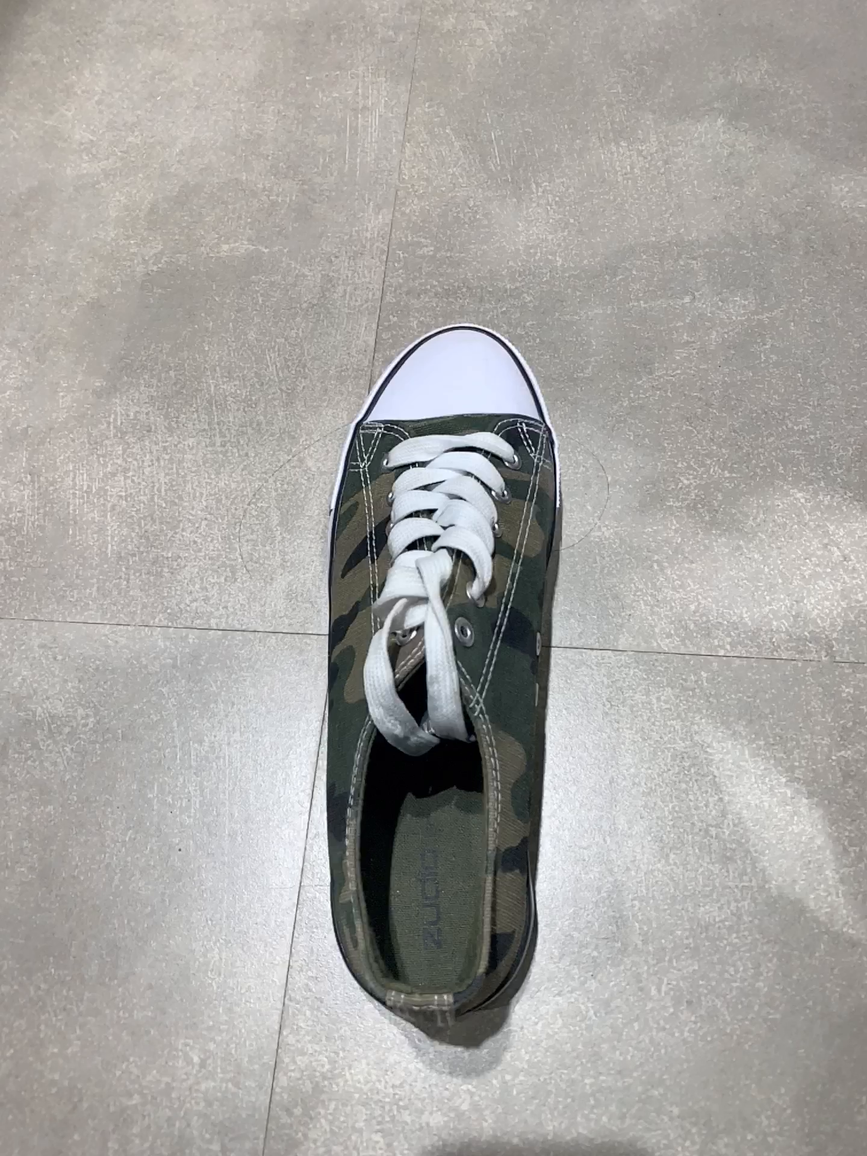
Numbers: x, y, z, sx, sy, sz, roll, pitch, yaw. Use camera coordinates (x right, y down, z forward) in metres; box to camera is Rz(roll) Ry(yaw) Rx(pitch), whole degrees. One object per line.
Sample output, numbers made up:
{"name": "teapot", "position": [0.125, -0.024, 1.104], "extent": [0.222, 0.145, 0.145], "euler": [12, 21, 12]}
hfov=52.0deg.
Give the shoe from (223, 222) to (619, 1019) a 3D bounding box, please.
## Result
{"name": "shoe", "position": [0.003, 0.004, 0.314], "extent": [0.099, 0.079, 0.266], "euler": [0, 65, 4]}
